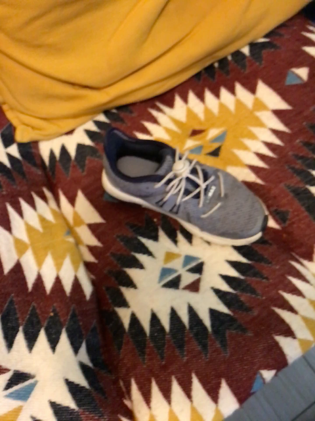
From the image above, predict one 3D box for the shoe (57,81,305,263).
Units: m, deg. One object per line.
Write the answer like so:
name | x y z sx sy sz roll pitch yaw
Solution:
shoe | 0.022 -0.041 0.356 0.211 0.074 0.094 22 65 12
